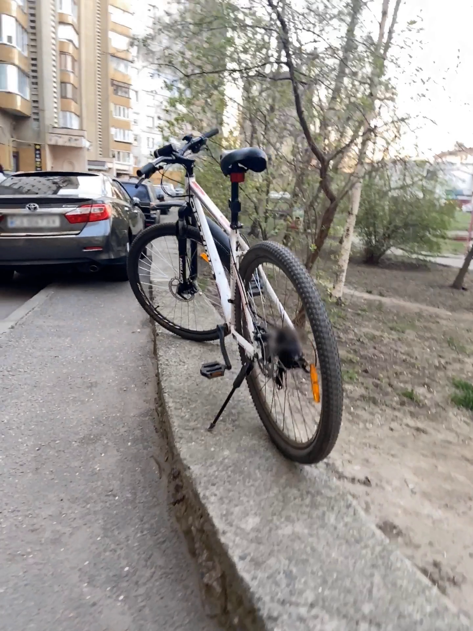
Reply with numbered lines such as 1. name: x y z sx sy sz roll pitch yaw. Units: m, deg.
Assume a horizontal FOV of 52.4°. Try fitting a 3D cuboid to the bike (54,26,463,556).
1. bike: -0.215 -0.164 1.912 0.679 1.147 1.753 -4 14 -28
